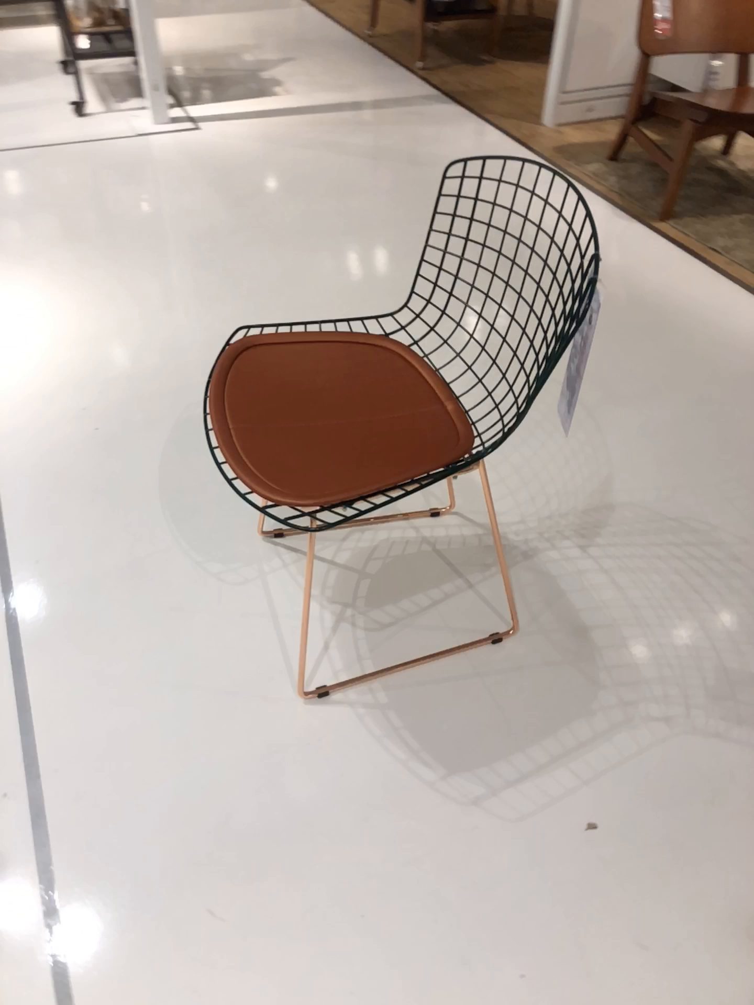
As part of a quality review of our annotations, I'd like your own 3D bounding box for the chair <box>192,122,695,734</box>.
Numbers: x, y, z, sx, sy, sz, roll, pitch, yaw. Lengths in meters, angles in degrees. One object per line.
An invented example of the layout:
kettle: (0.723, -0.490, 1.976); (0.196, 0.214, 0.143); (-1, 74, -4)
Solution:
chair: (0.039, -0.111, 1.274); (0.500, 0.724, 0.494); (-9, 43, -12)
